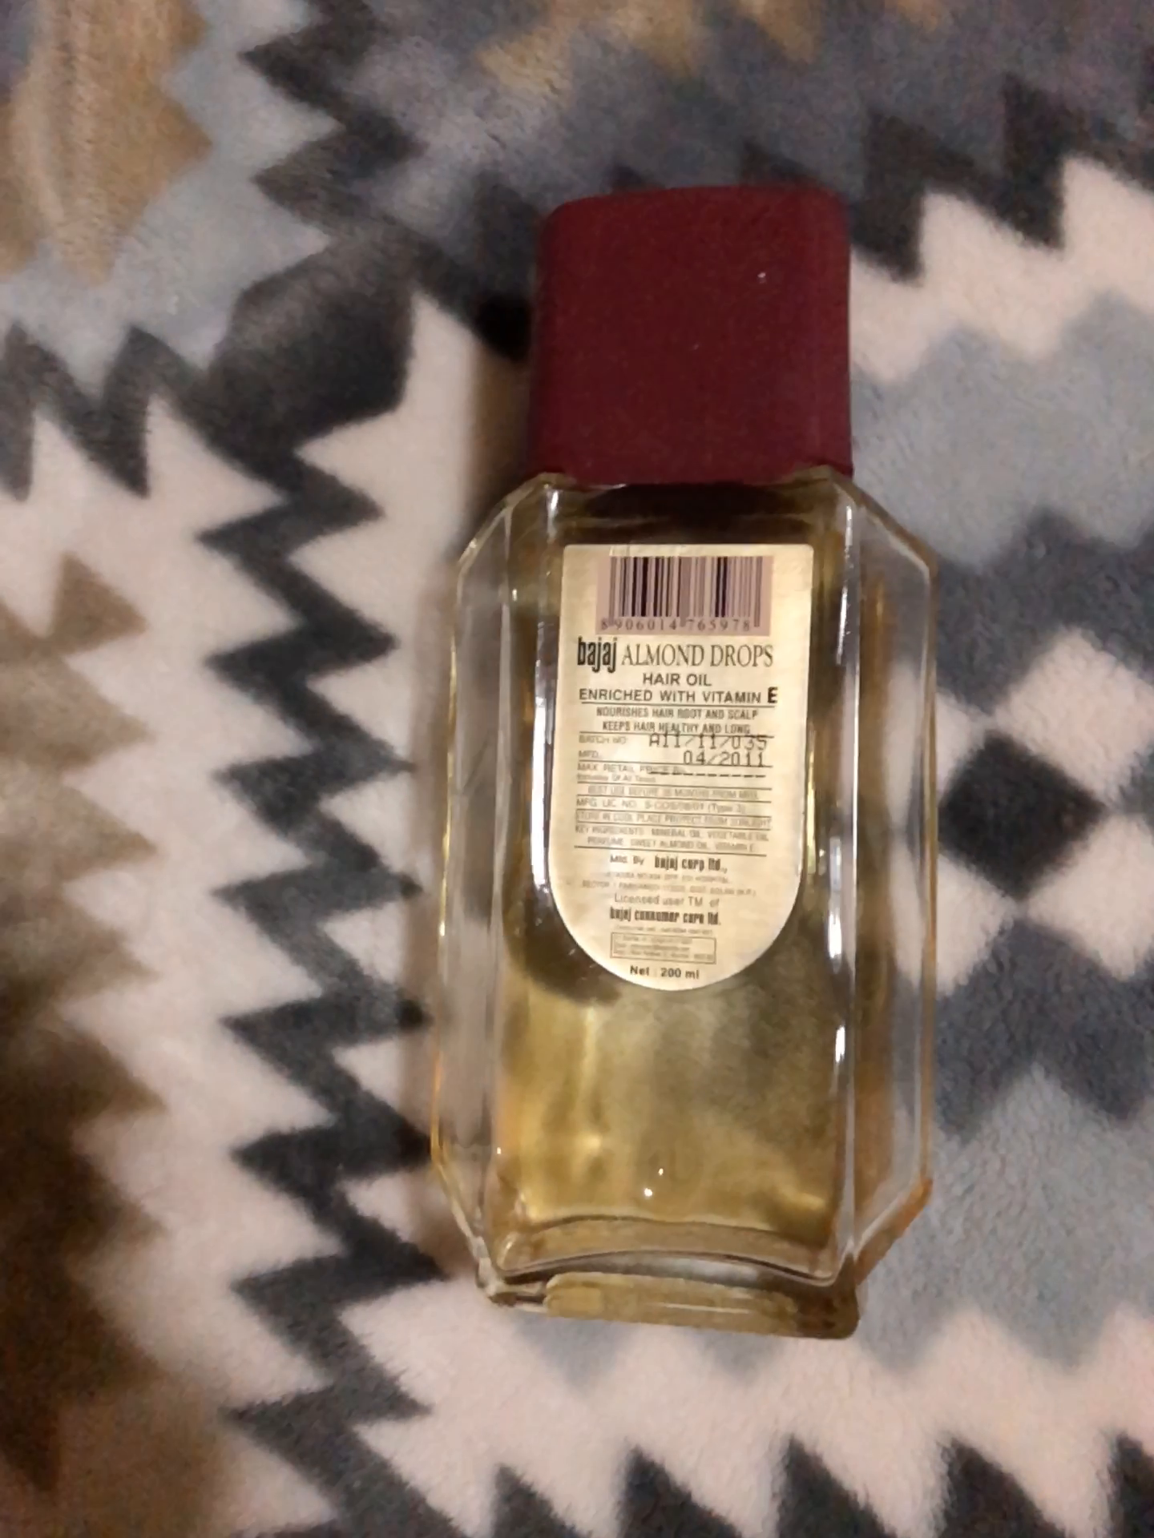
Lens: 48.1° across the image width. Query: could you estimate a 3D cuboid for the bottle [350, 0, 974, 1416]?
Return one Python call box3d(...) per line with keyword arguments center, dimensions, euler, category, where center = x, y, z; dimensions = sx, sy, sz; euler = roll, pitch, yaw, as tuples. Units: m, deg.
box3d(center=(0.016, -0.013, 0.197), dimensions=(0.080, 0.040, 0.190), euler=(0, 82, 11), category="bottle")
